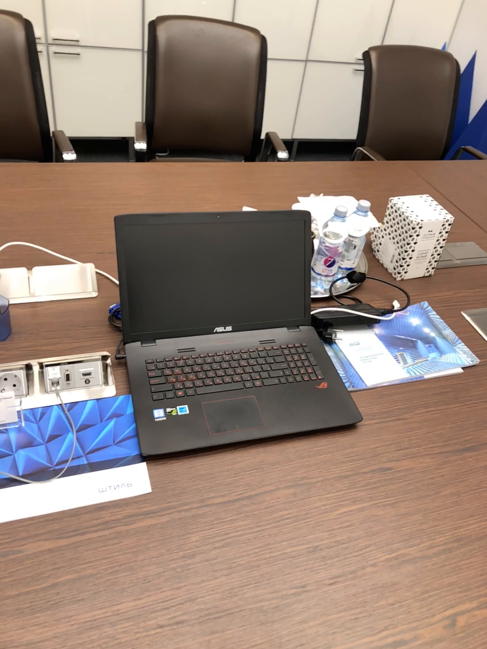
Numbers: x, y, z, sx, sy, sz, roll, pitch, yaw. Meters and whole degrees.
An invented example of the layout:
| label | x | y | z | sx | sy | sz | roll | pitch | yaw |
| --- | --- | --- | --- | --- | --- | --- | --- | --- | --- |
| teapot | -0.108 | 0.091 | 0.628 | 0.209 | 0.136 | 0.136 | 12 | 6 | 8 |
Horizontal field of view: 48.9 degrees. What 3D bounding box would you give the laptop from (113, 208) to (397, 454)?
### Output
| label | x | y | z | sx | sy | sz | roll | pitch | yaw |
| --- | --- | --- | --- | --- | --- | --- | --- | --- | --- |
| laptop | -0.013 | -0.017 | 0.938 | 0.380 | 0.194 | 0.370 | -5 | 43 | -17 |
